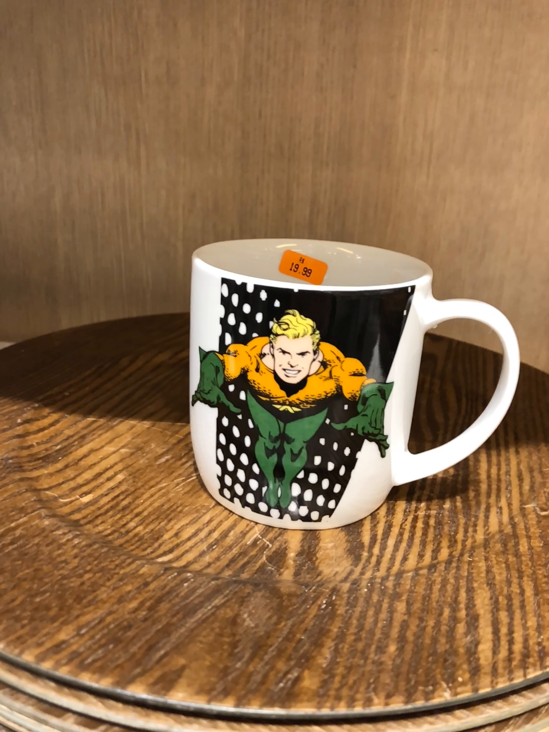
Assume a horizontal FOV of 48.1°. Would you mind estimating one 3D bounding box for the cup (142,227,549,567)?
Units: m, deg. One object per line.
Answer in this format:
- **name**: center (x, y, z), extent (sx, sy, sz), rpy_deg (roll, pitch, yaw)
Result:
- **cup**: center (0.025, 0.001, 0.233), extent (0.120, 0.089, 0.091), rpy_deg (6, 19, 9)
